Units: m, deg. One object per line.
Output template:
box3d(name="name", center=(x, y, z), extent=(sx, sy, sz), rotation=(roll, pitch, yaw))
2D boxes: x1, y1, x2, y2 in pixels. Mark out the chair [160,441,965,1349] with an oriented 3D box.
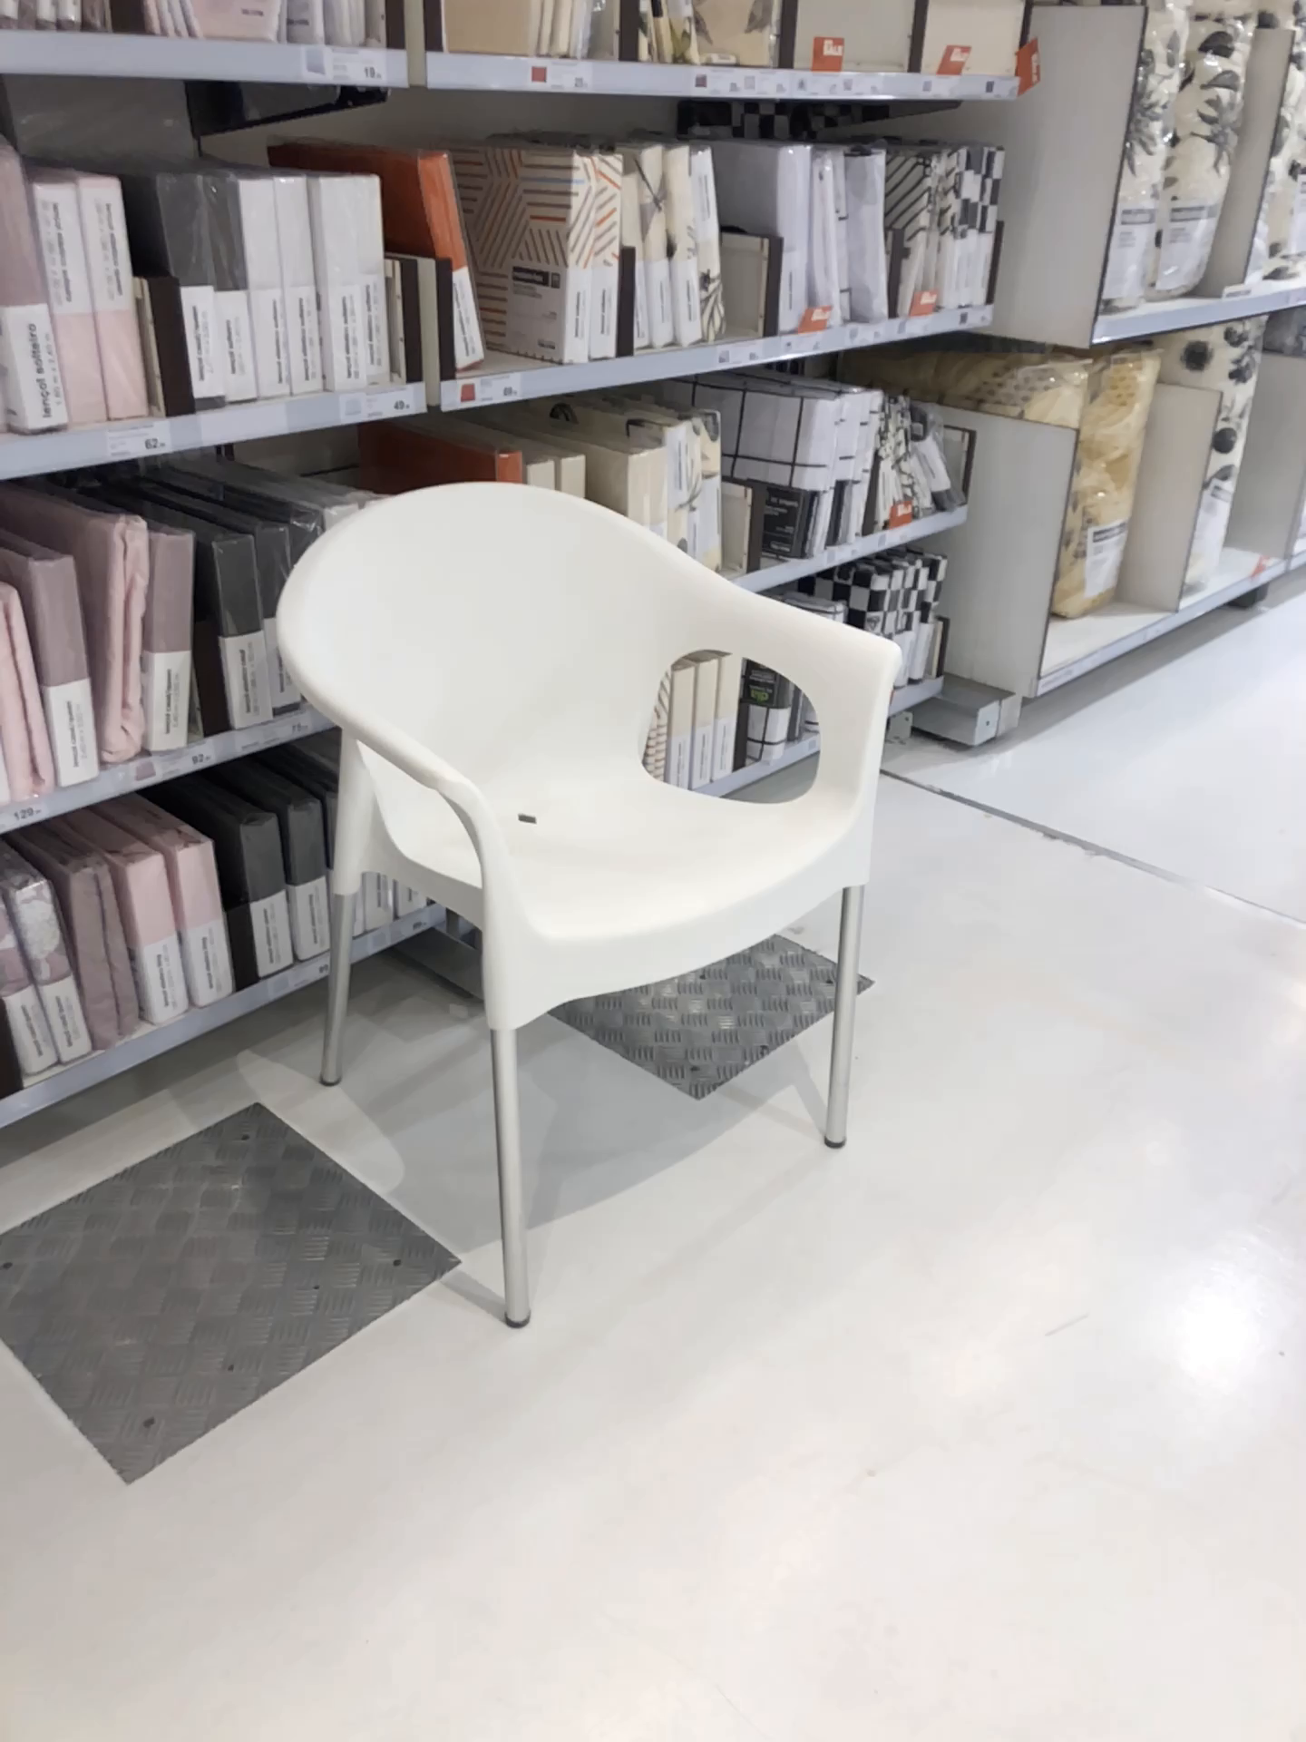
box3d(name="chair", center=(-0.105, -0.034, 1.595), extent=(0.592, 0.705, 0.552), rotation=(-20, 35, -35))
